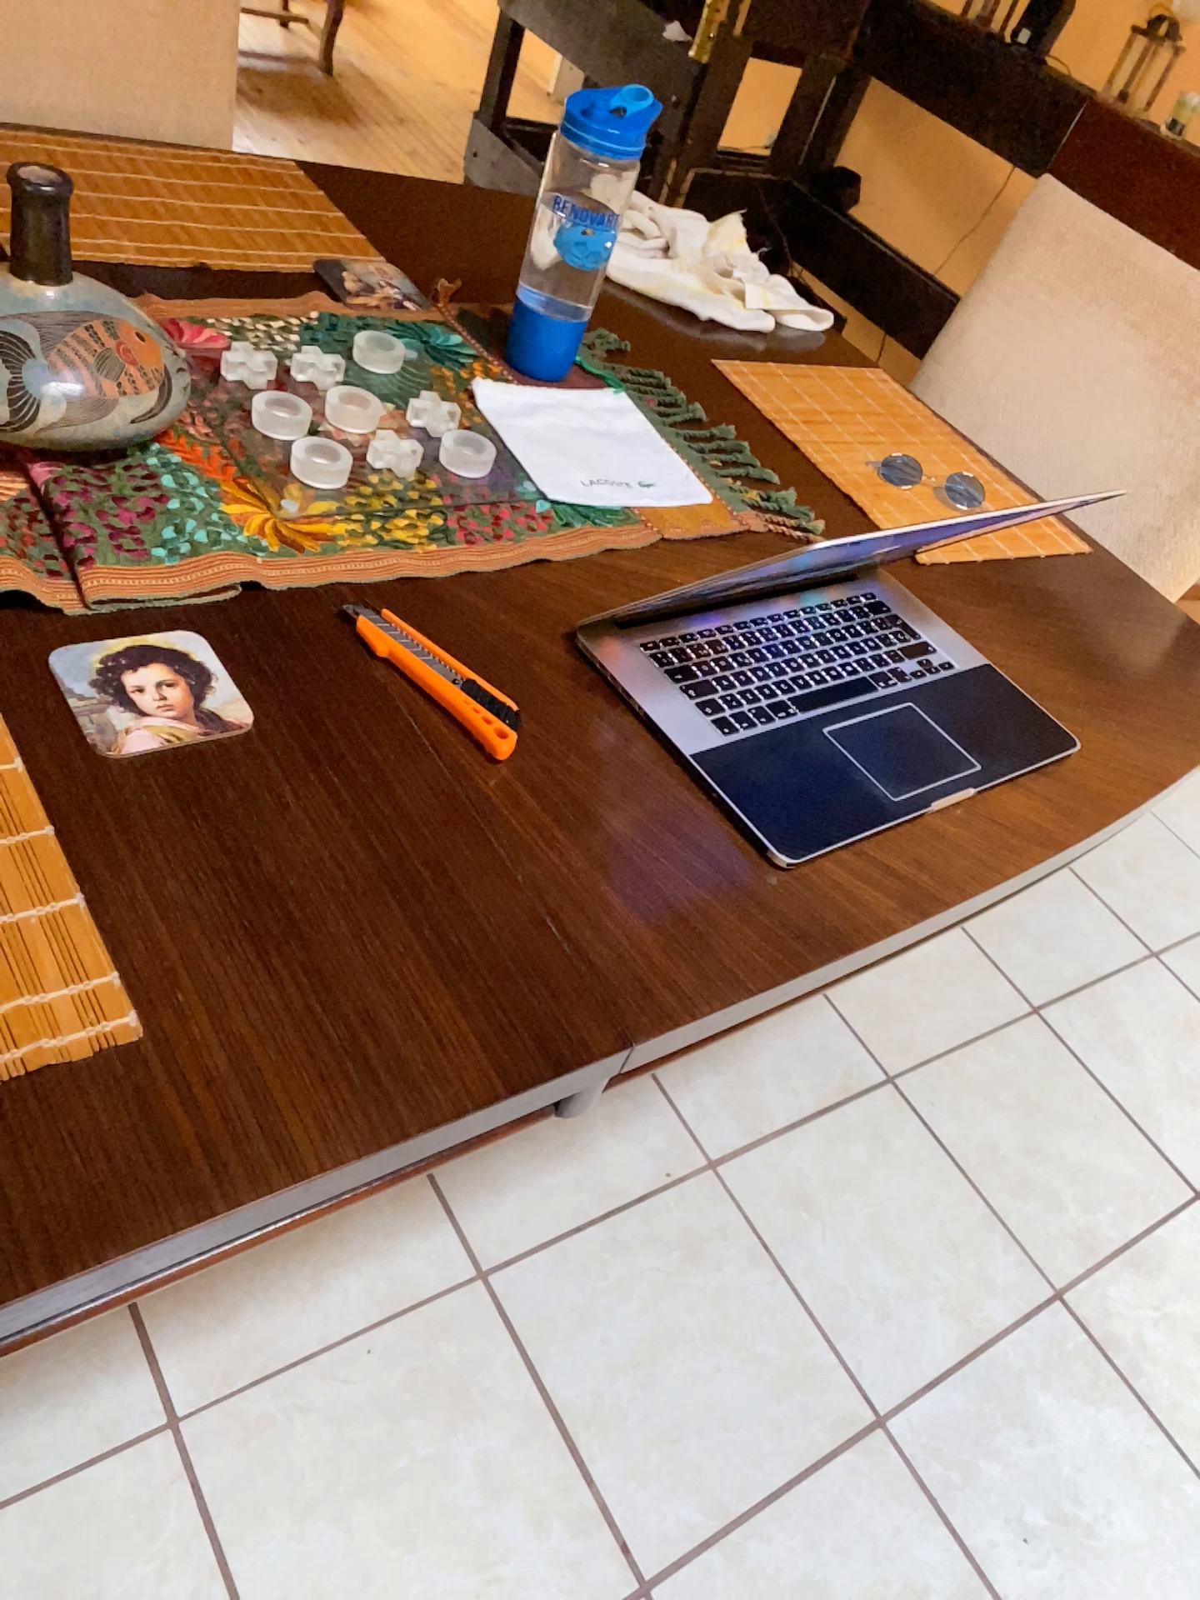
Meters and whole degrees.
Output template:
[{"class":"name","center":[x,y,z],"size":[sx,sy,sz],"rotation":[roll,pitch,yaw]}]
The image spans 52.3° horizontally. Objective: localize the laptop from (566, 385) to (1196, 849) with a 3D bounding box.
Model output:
[{"class":"laptop","center":[0.204,-0.154,0.893],"size":[0.356,0.181,0.236],"rotation":[-17,54,-38]}]
